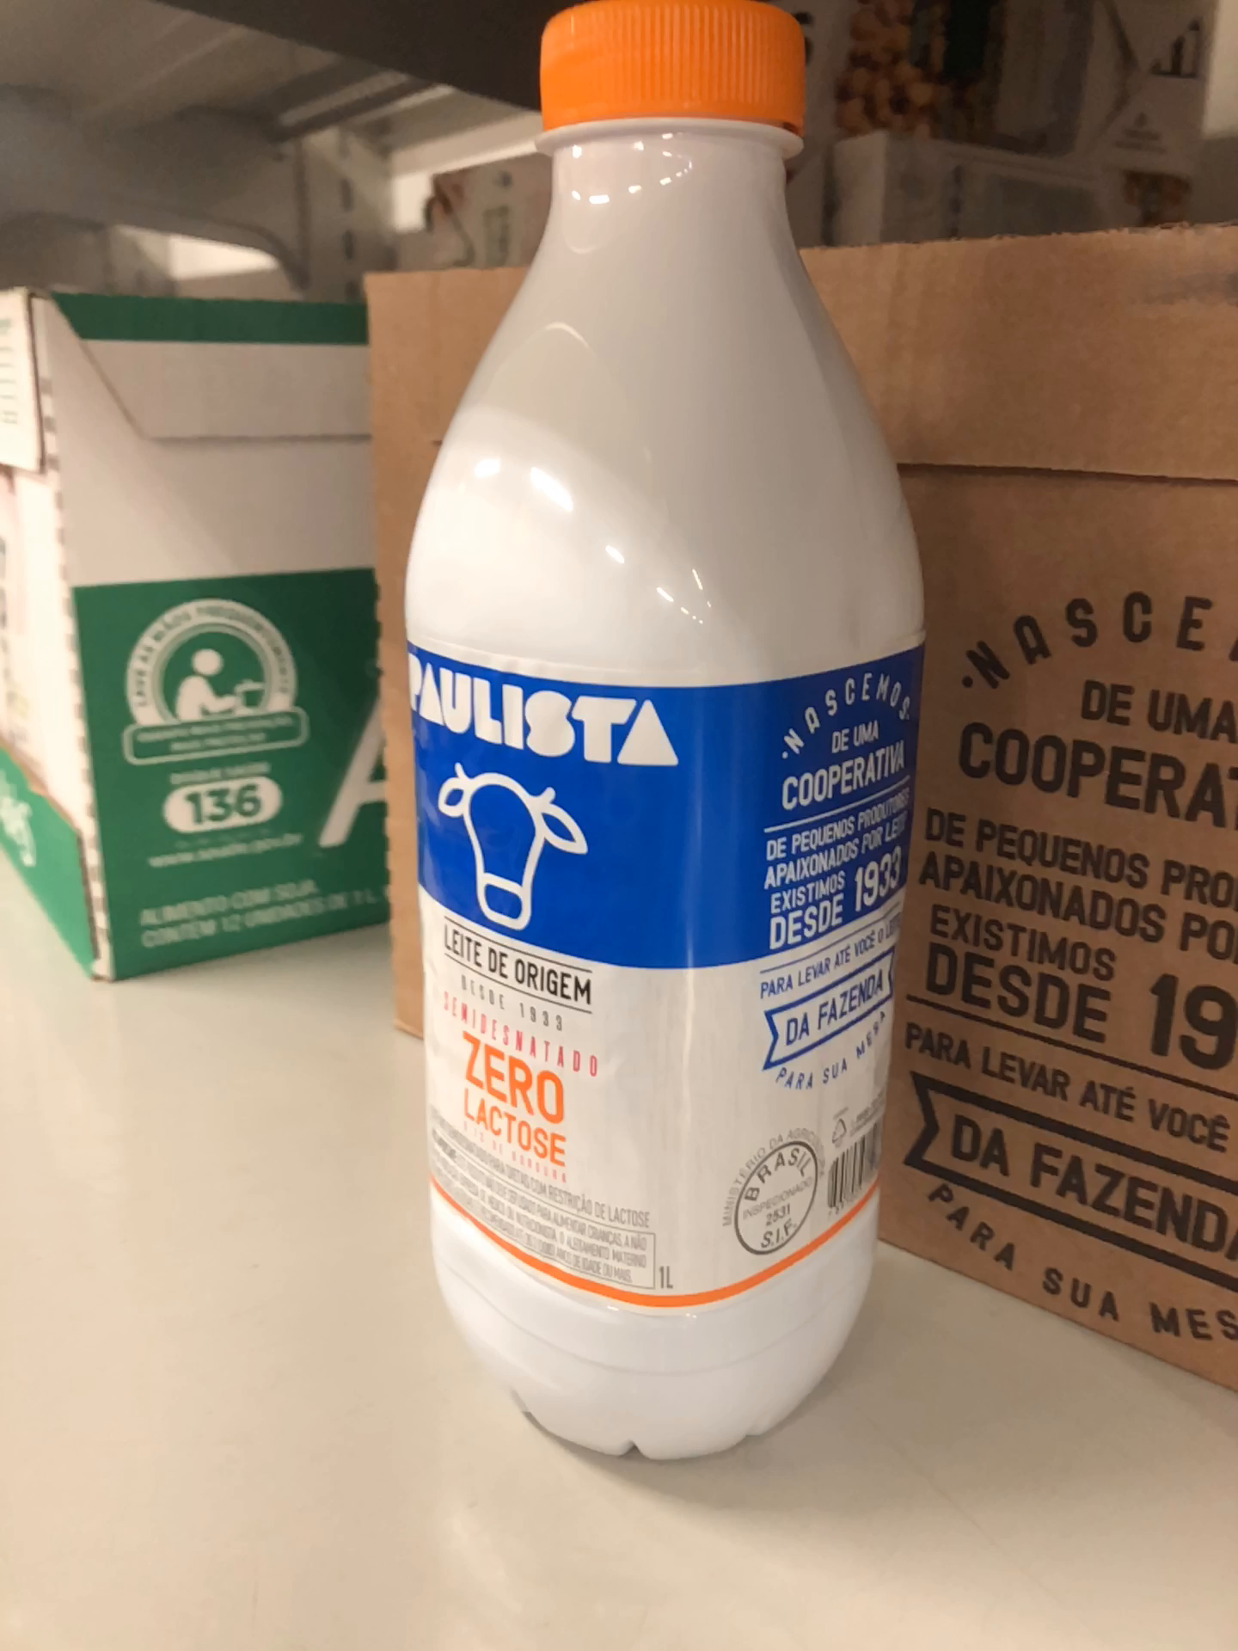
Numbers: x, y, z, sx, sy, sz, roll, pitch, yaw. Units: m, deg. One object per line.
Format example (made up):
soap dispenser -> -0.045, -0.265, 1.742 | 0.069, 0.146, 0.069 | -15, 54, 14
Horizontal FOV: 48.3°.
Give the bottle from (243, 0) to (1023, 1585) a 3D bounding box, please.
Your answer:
bottle -> 0.003, -0.011, 0.233 | 0.080, 0.229, 0.080 | 0, 17, 0
